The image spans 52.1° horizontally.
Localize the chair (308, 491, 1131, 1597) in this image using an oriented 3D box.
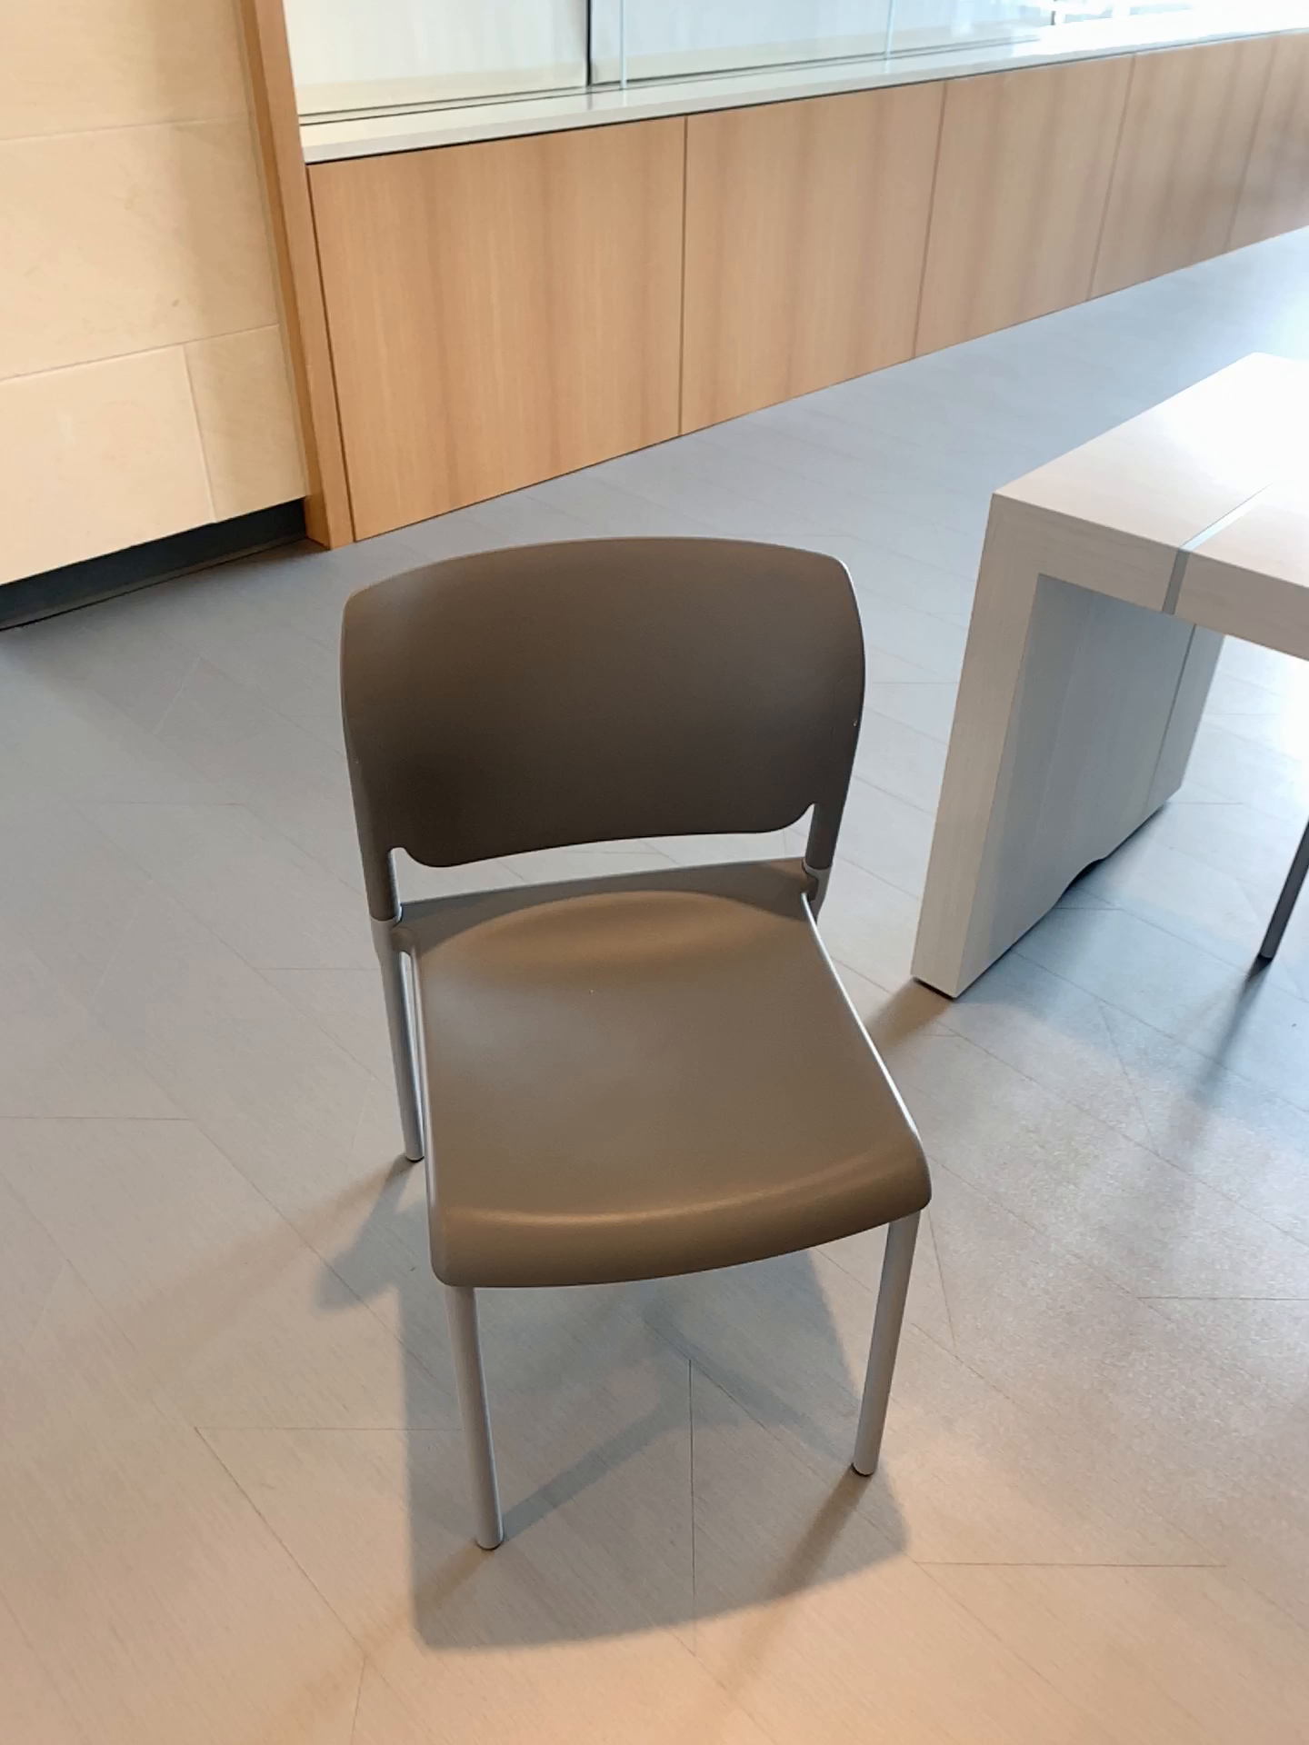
[{"bbox_3d":[-0.010,0.144,1.258,0.500,0.783,0.575,-7,37,-11],"label":"chair"}]
